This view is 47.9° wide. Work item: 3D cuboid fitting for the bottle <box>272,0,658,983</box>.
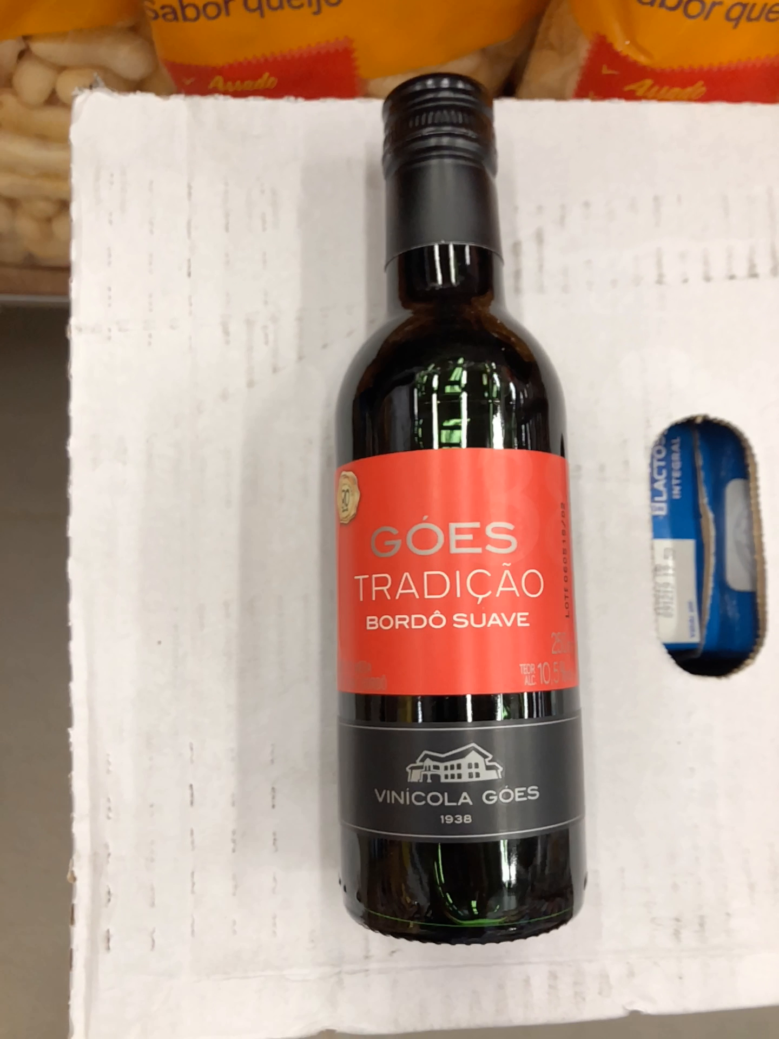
[{"bbox_3d":[0.011,-0.020,0.196,0.060,0.050,0.210,-3,83,-2],"label":"bottle"}]
